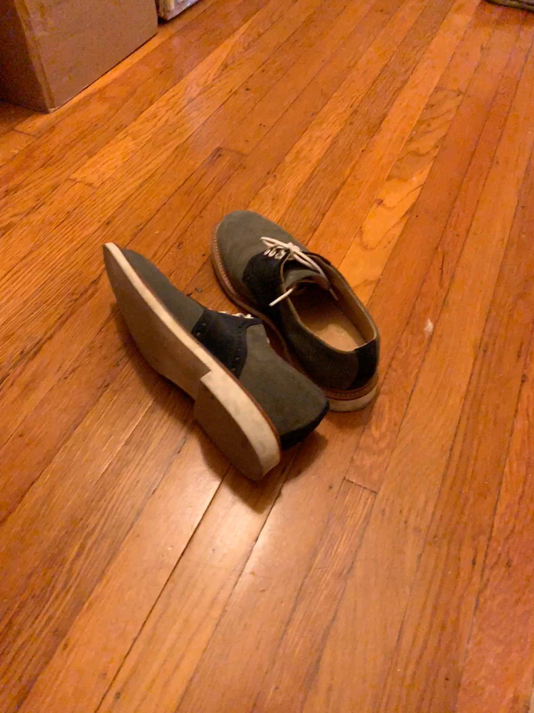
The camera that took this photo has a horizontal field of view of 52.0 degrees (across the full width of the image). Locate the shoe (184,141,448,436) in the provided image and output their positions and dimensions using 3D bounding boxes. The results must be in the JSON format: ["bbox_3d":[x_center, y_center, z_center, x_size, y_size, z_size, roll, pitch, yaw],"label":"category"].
[{"bbox_3d":[0.030,-0.089,0.579,0.130,0.100,0.311,-19,55,-16],"label":"shoe"}]

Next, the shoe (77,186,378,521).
[{"bbox_3d":[-0.054,-0.018,0.546,0.120,0.129,0.311,-28,58,-24],"label":"shoe"}]
